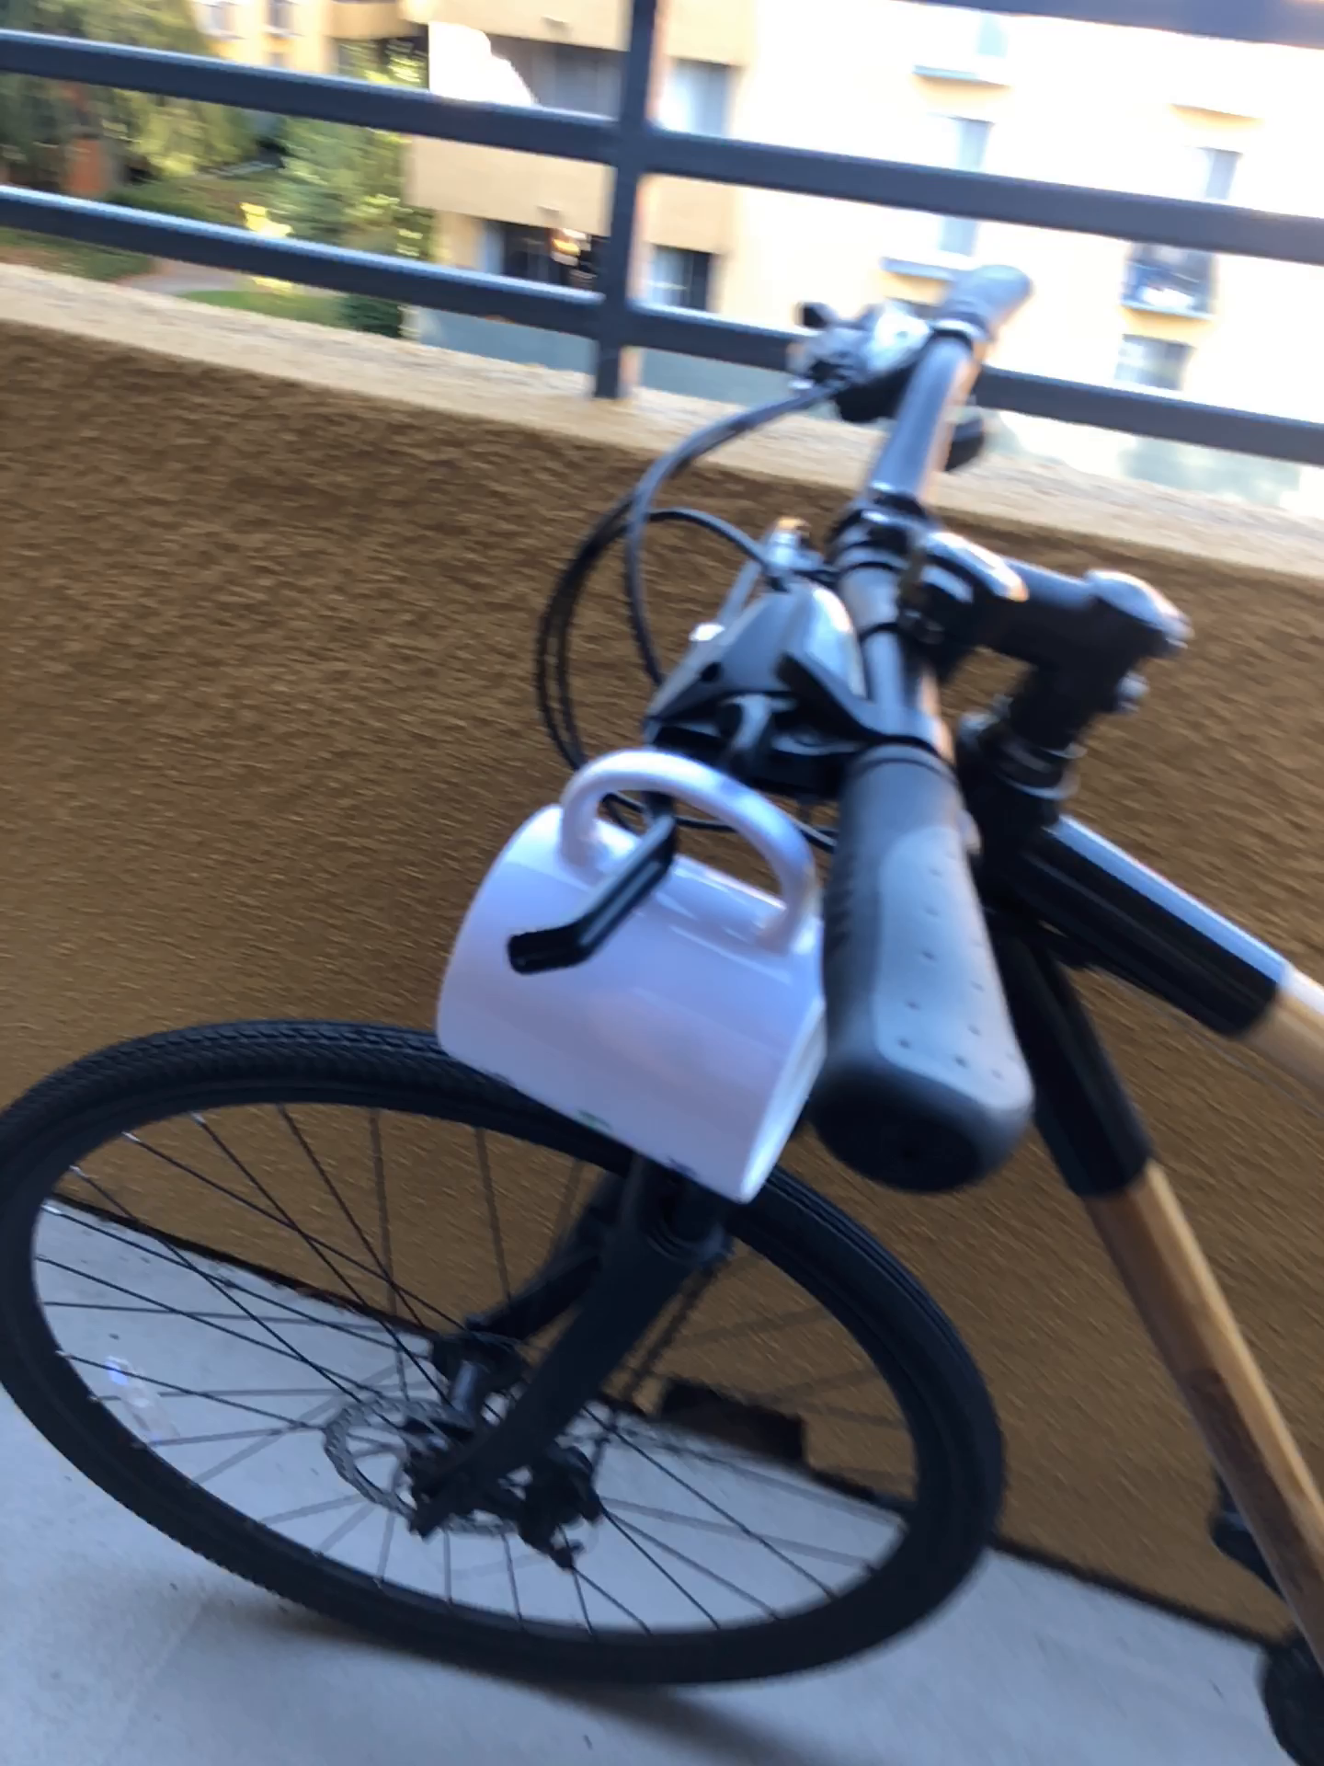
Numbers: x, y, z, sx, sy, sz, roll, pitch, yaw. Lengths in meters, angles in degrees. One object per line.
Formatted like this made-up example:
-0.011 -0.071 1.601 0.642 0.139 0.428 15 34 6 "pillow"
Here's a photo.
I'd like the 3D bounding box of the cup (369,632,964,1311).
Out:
-0.003 0.021 0.401 0.120 0.119 0.090 24 41 20 "cup"
